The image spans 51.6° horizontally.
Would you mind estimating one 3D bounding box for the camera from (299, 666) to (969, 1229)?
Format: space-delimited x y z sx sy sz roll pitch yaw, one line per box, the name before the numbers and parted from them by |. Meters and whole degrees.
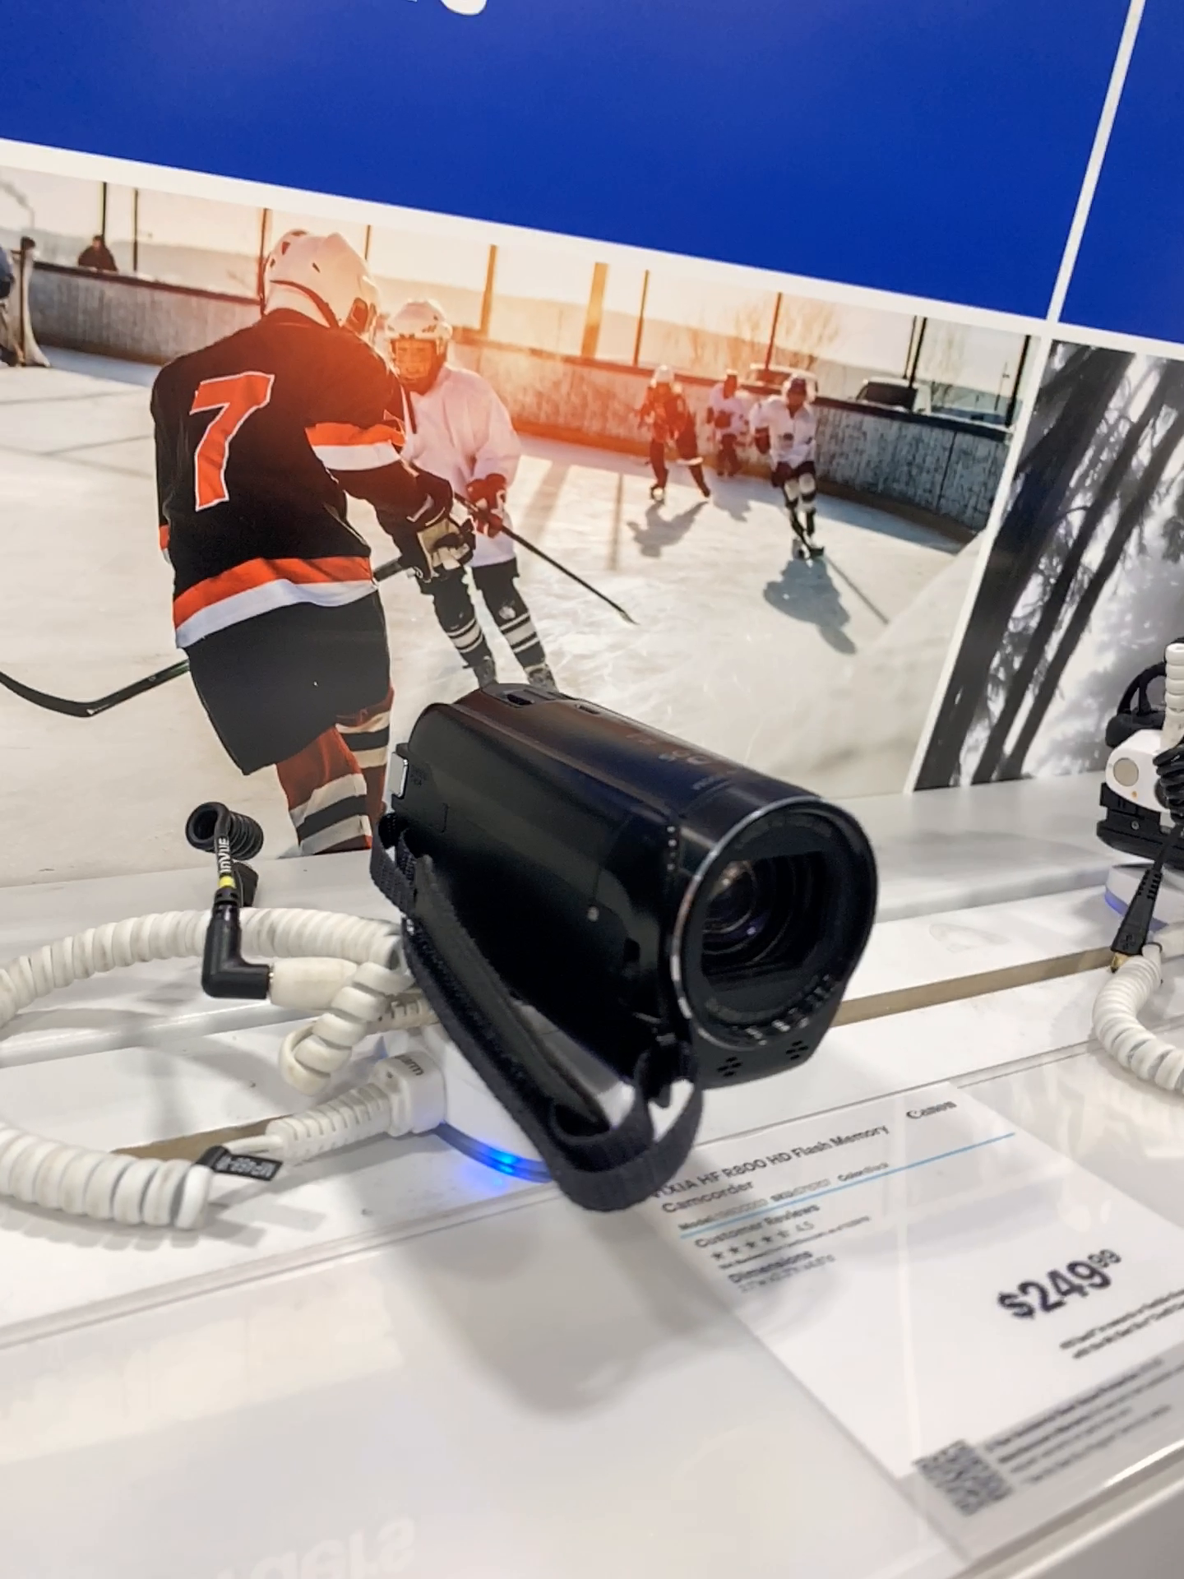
camera | -0.004 0.018 0.260 0.072 0.062 0.140 -4 18 -31
